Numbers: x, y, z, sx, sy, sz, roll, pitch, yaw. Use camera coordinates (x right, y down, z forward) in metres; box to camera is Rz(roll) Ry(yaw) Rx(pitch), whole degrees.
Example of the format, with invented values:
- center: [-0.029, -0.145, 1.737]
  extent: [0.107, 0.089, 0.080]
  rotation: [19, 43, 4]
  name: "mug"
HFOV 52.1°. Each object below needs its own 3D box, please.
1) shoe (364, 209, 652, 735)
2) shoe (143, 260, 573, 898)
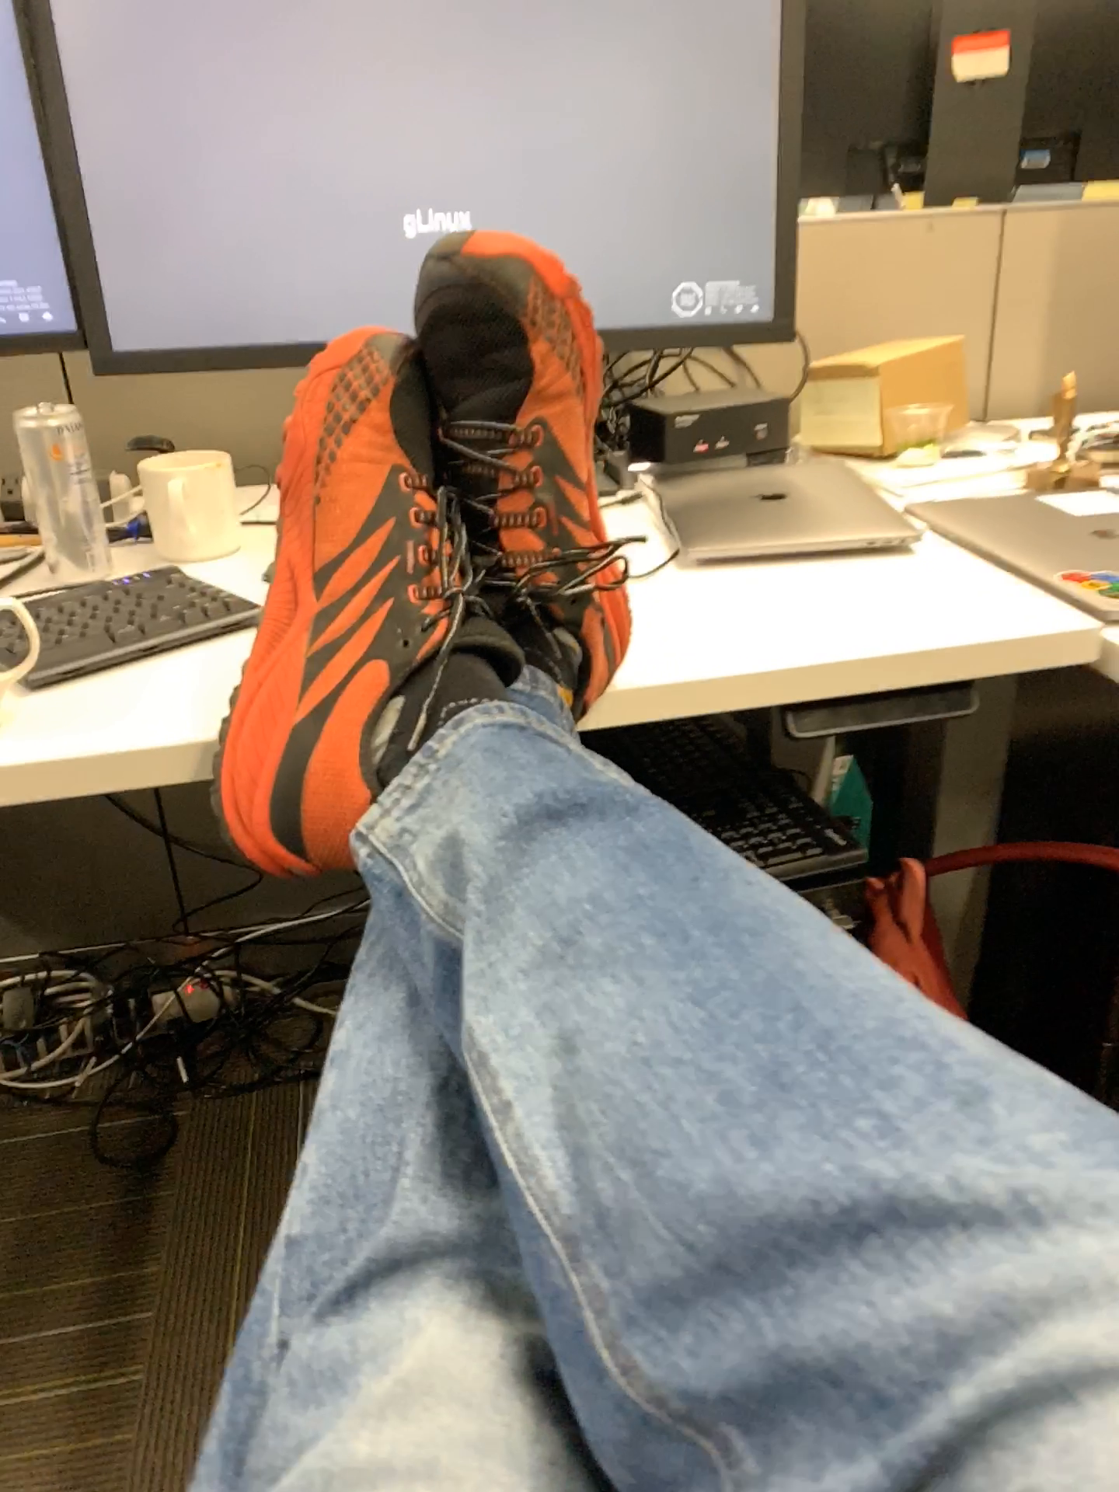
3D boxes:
- center: [-0.020, -0.149, 0.653]
  extent: [0.107, 0.271, 0.083]
  rotation: [3, 28, 20]
  name: "shoe"
- center: [-0.094, -0.081, 0.573]
  extent: [0.133, 0.289, 0.091]
  rotation: [7, -8, 23]
  name: "shoe"
